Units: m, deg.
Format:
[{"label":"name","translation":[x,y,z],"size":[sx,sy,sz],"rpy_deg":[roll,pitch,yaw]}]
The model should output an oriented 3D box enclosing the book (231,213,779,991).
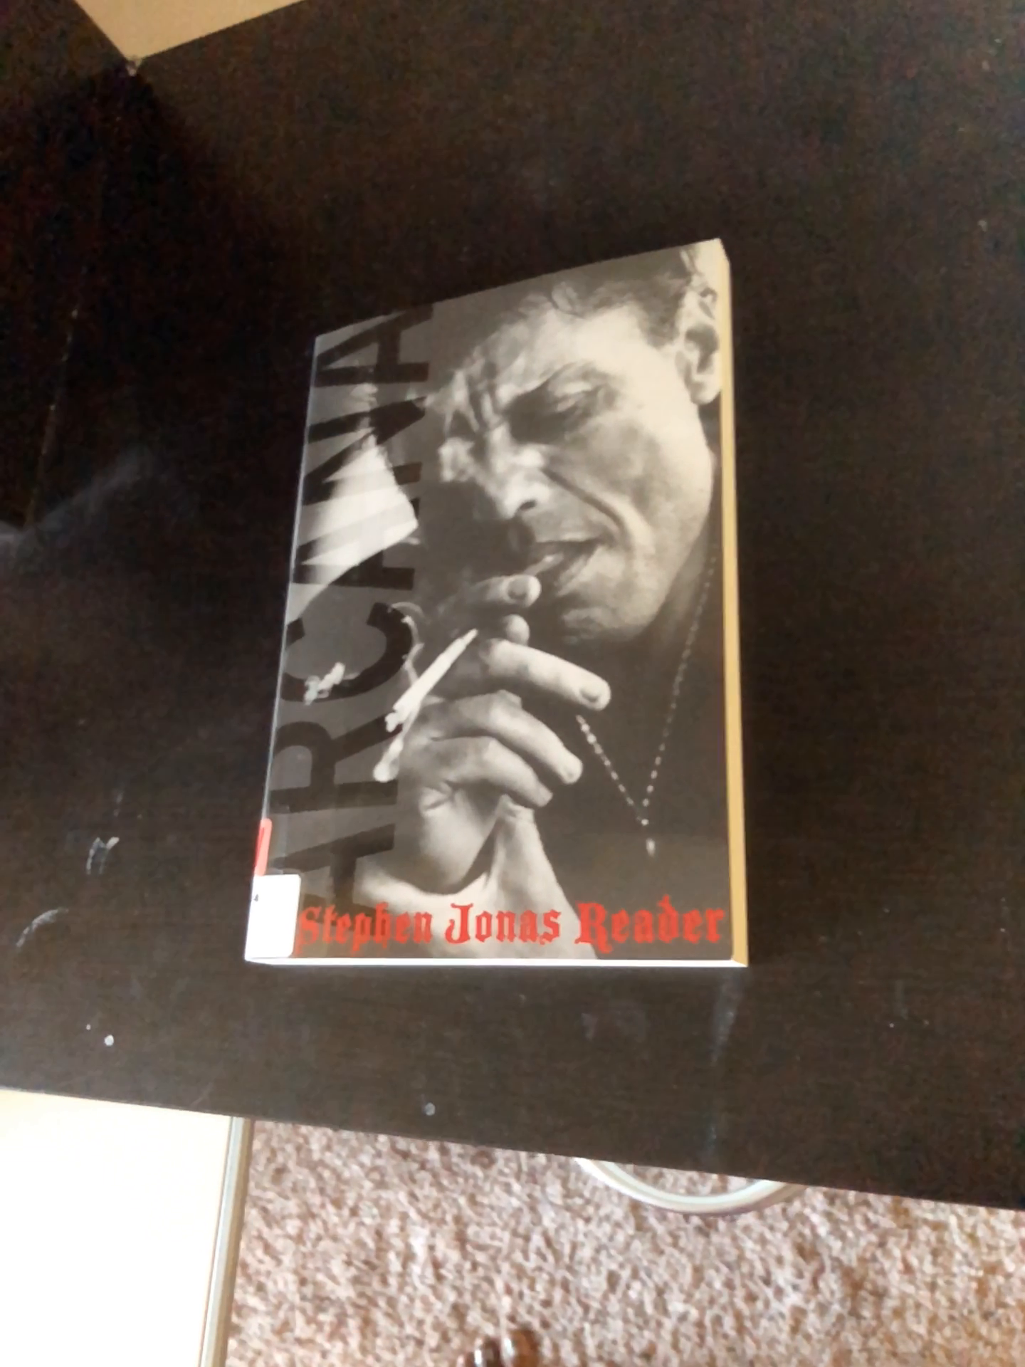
[{"label":"book","translation":[-0.003,-0.028,0.401],"size":[0.179,0.024,0.260],"rpy_deg":[-6,70,23]}]
